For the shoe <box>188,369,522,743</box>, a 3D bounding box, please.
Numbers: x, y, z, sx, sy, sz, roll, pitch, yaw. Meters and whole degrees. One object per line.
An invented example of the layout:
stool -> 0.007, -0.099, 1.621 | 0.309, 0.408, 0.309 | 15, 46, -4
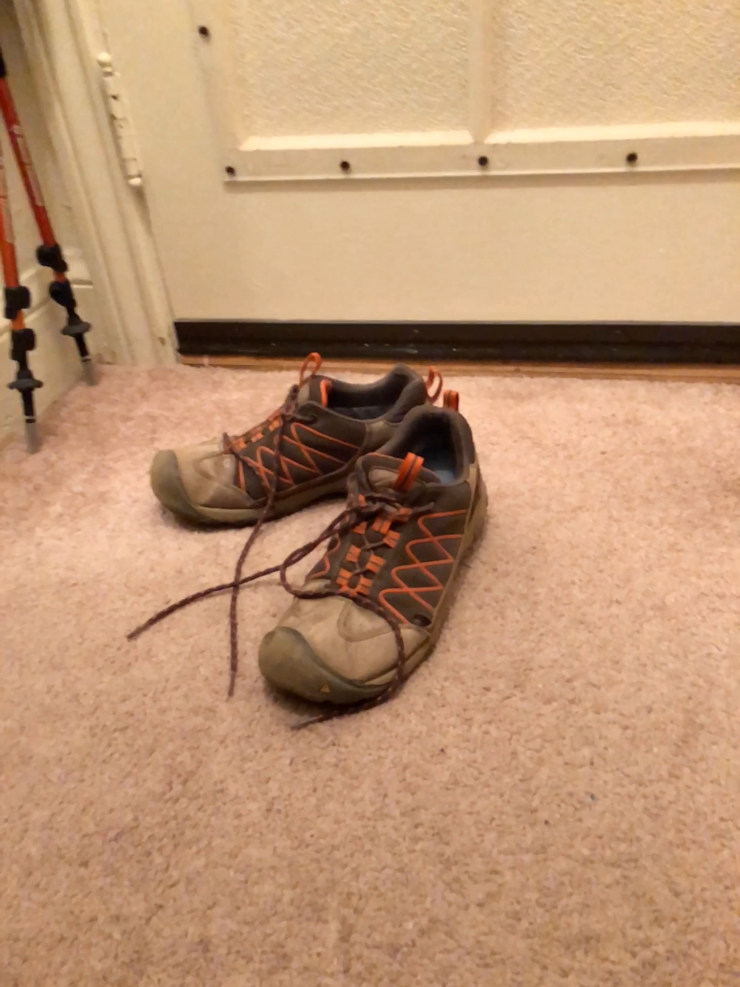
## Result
shoe -> 0.007, 0.030, 0.634 | 0.120, 0.129, 0.271 | 16, 41, 28

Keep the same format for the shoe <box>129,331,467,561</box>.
shoe -> -0.067, -0.051, 0.799 | 0.300, 0.129, 0.121 | -11, 36, -7
